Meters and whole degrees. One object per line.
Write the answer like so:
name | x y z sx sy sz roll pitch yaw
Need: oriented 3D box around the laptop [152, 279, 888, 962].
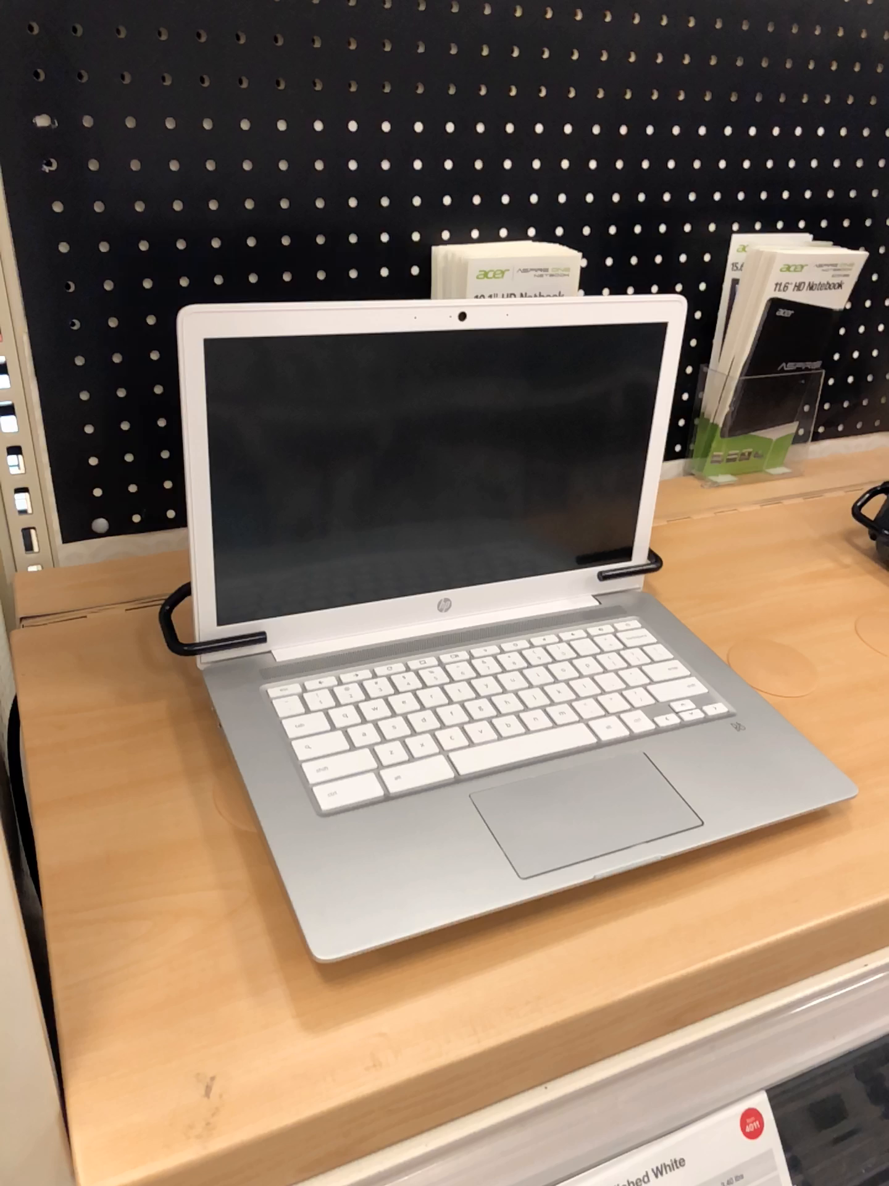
laptop | 0.040 -0.029 0.561 0.333 0.198 0.281 -10 35 -25
